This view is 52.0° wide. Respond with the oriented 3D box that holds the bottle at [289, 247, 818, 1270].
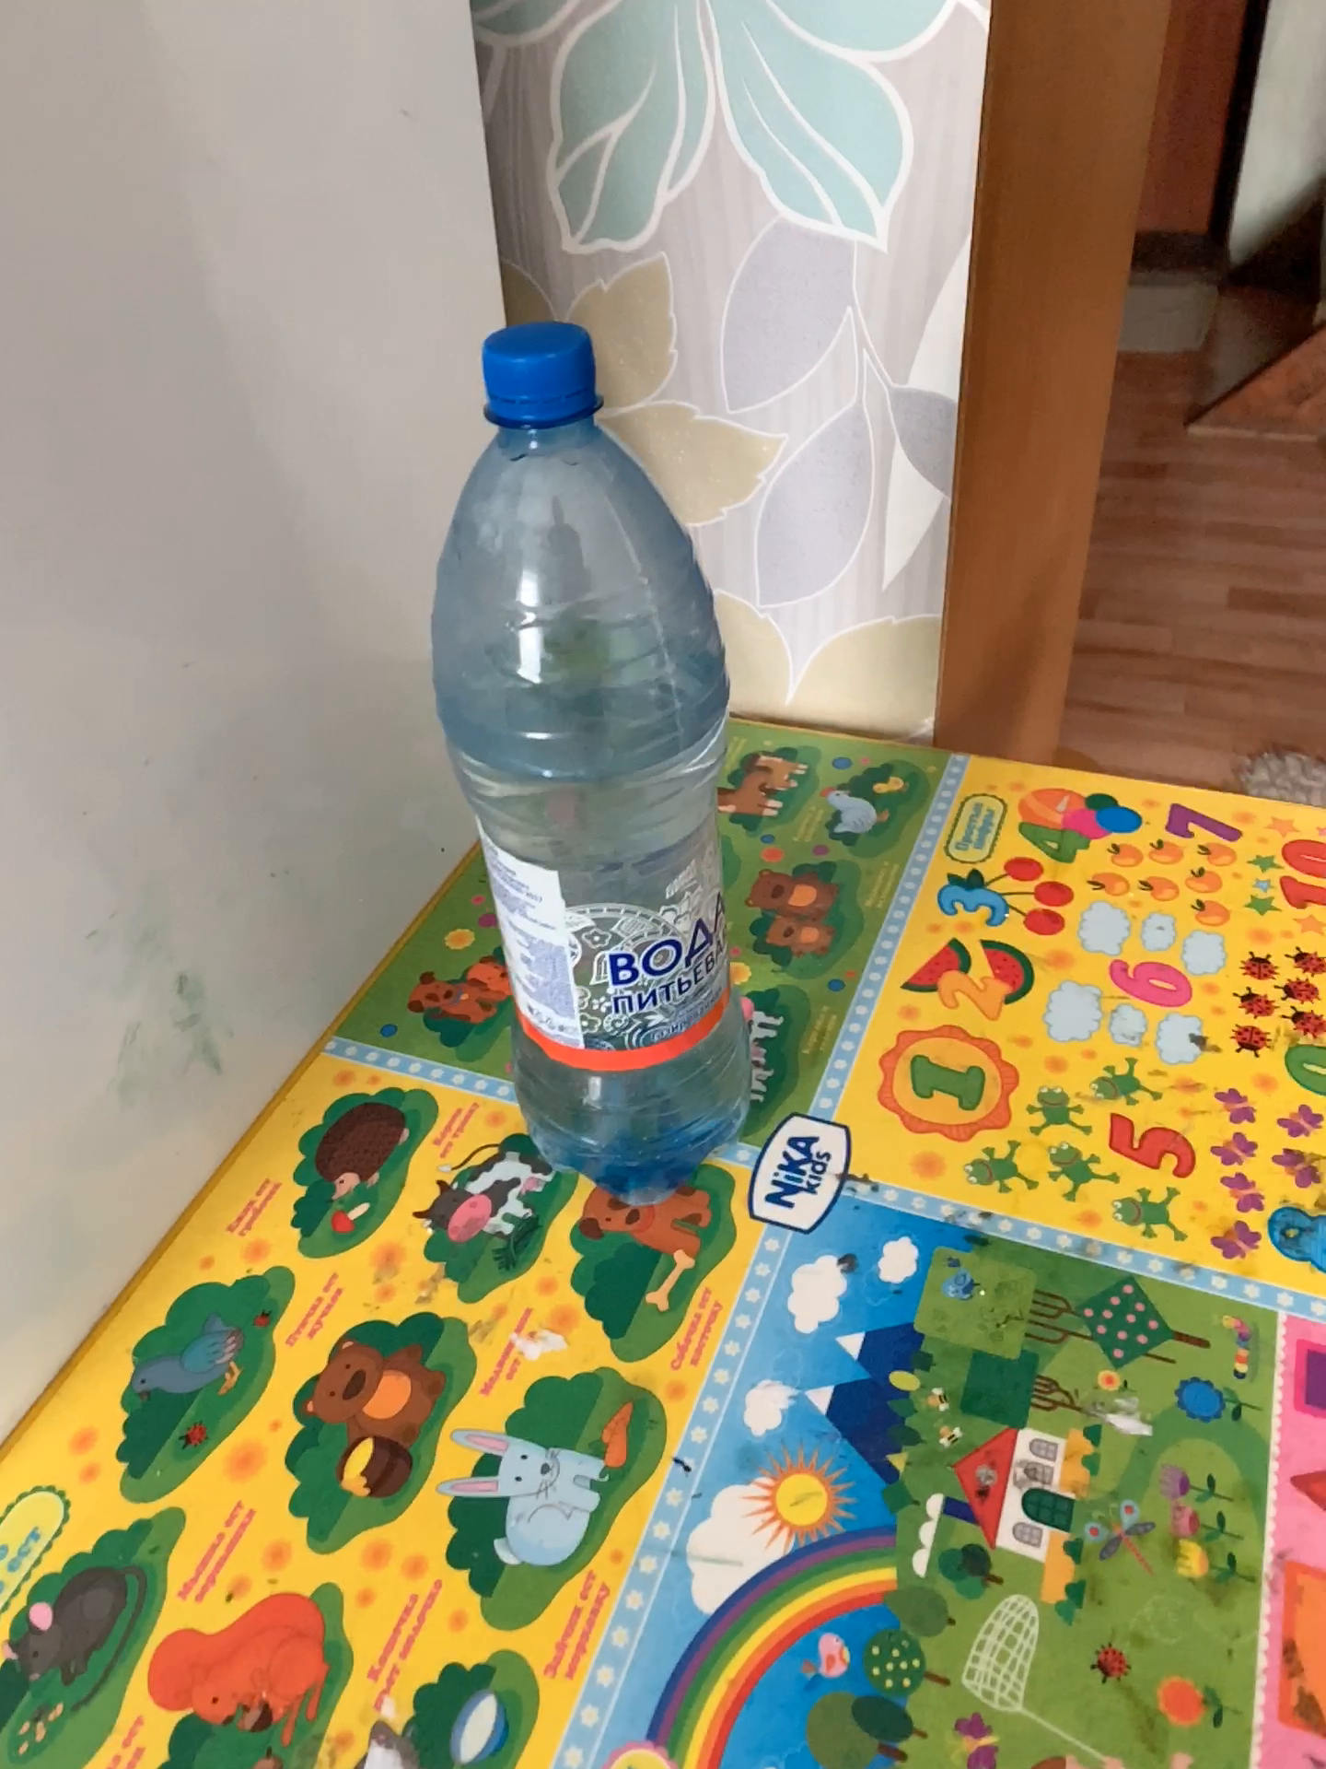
[{"bbox_3d":[-0.020,-0.025,0.457,0.100,0.317,0.101,-3,39,2],"label":"bottle"}]
